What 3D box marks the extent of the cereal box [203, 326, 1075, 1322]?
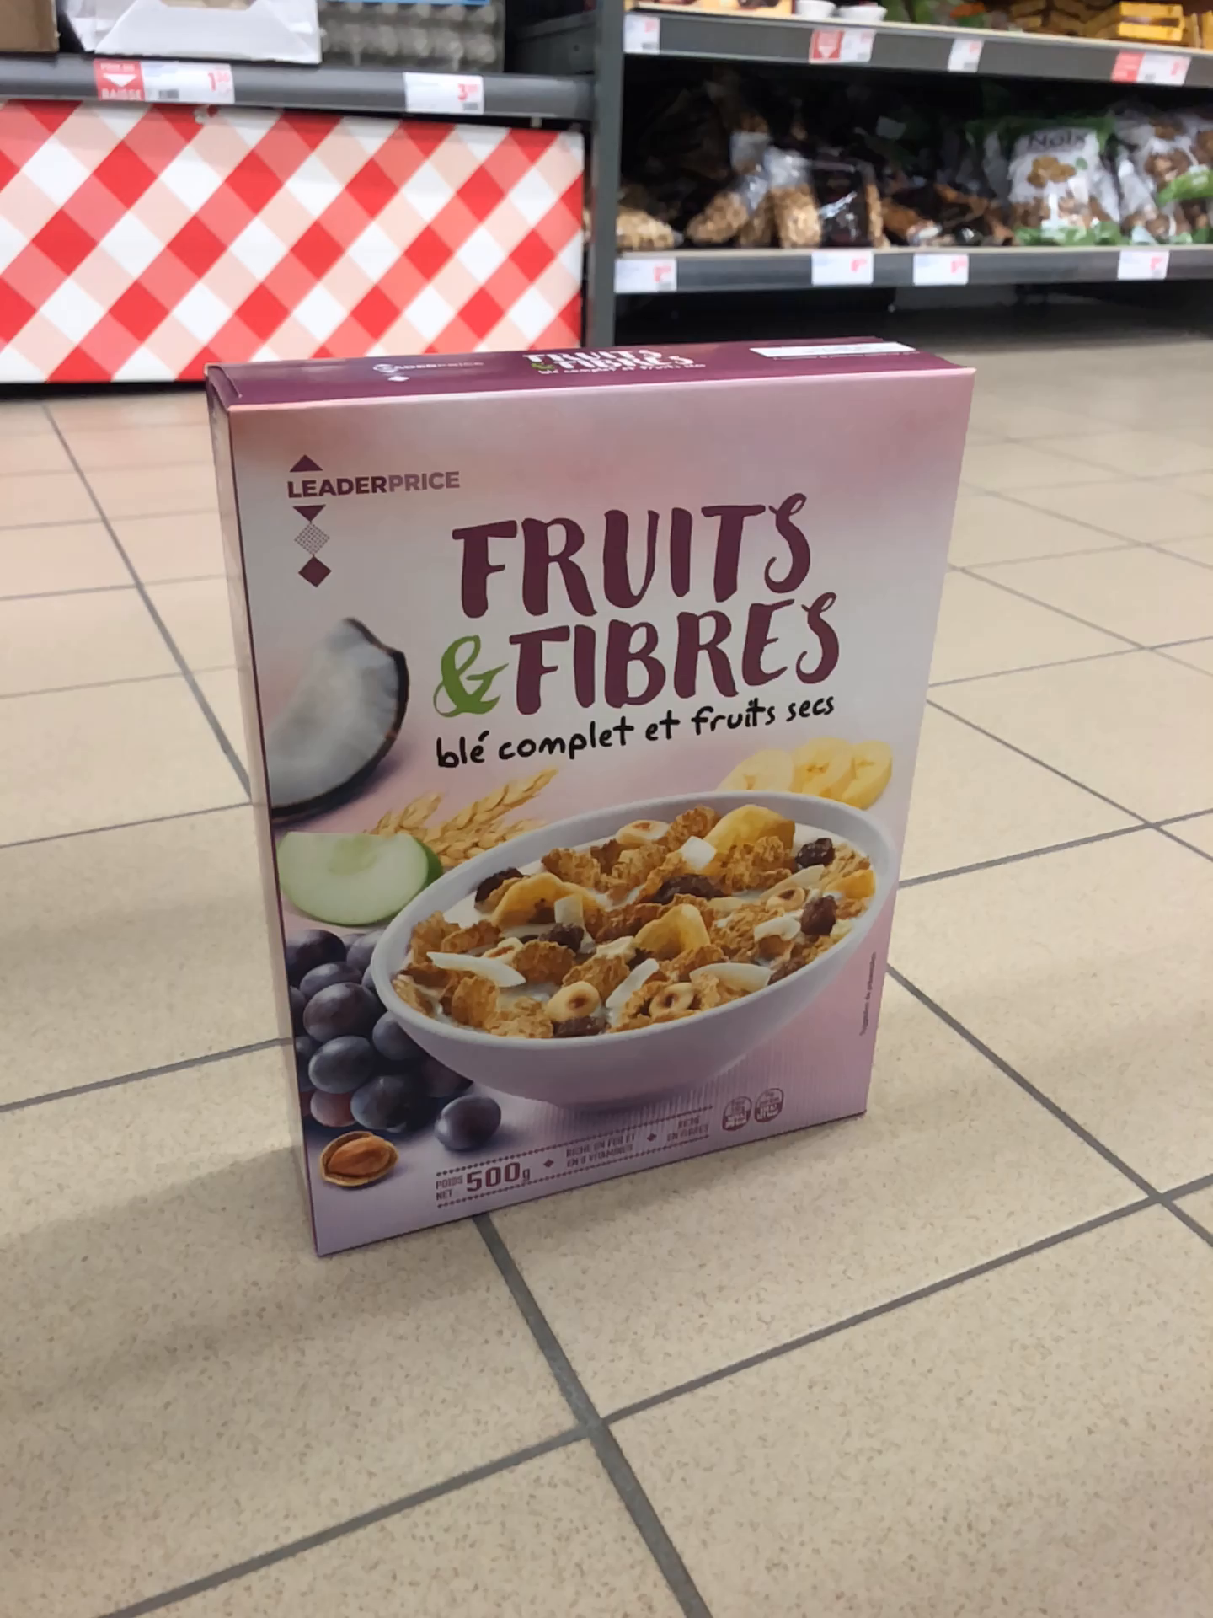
[{"bbox_3d":[0.010,0.003,0.389,0.210,0.259,0.060,-9,27,-19],"label":"cereal box"}]
